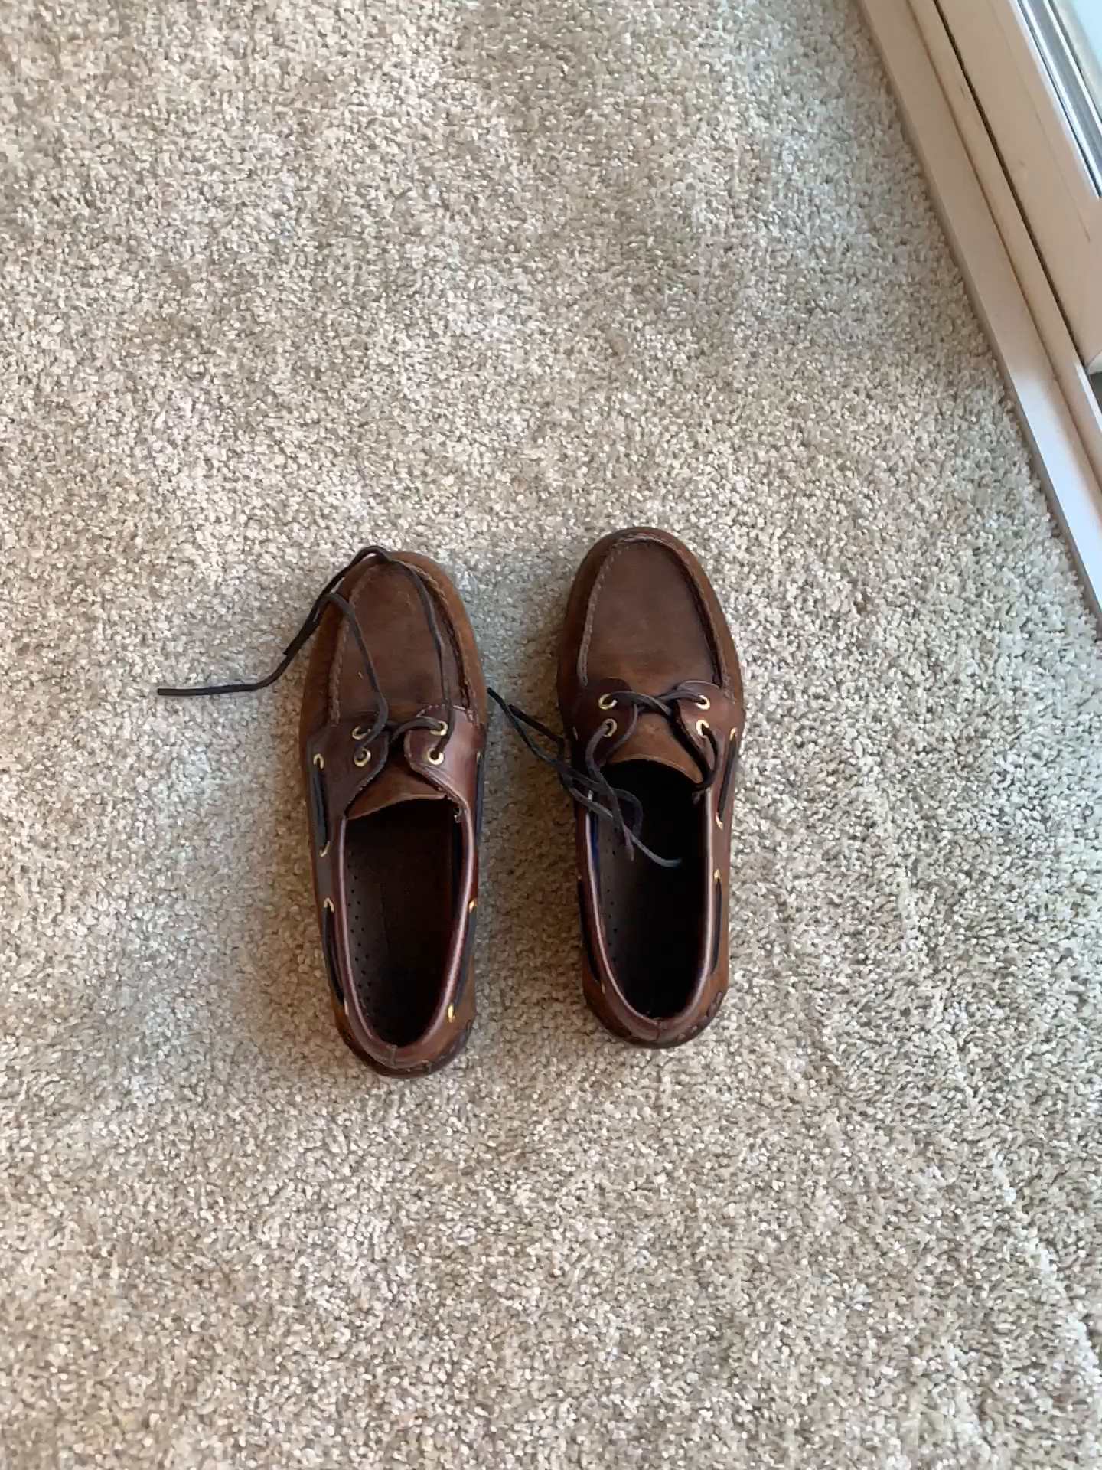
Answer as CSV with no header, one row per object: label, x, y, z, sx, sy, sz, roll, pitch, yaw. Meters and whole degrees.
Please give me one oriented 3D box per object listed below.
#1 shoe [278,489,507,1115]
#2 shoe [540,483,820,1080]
shoe,-0.087,0.035,0.632,0.100,0.100,0.320,-4,79,-2
shoe,0.062,0.025,0.622,0.110,0.100,0.300,-4,79,-2
